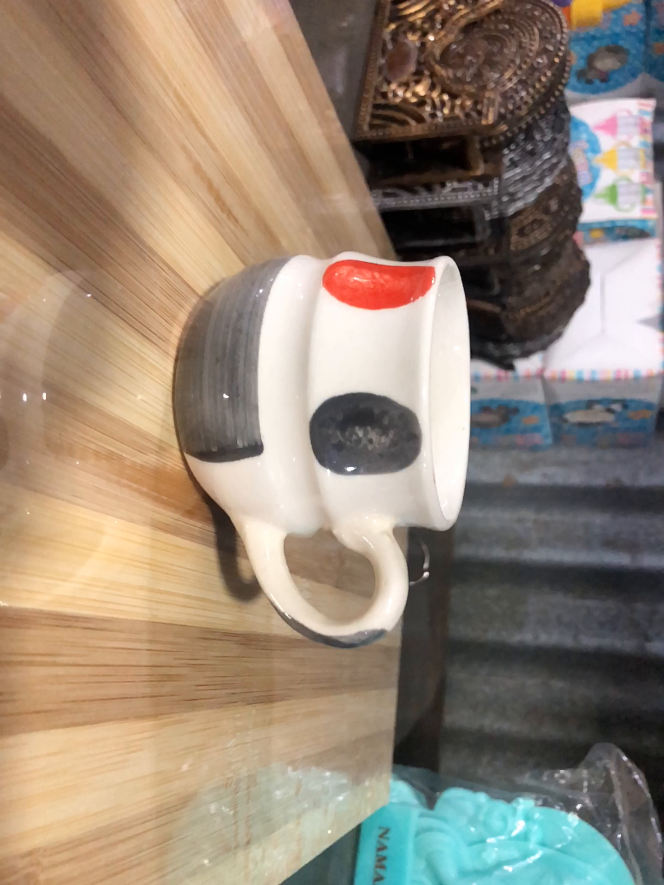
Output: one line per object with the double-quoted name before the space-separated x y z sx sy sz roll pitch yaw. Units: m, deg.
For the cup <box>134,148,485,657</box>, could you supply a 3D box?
"cup" 0.000 -0.007 0.169 0.060 0.060 0.090 9 83 -73
